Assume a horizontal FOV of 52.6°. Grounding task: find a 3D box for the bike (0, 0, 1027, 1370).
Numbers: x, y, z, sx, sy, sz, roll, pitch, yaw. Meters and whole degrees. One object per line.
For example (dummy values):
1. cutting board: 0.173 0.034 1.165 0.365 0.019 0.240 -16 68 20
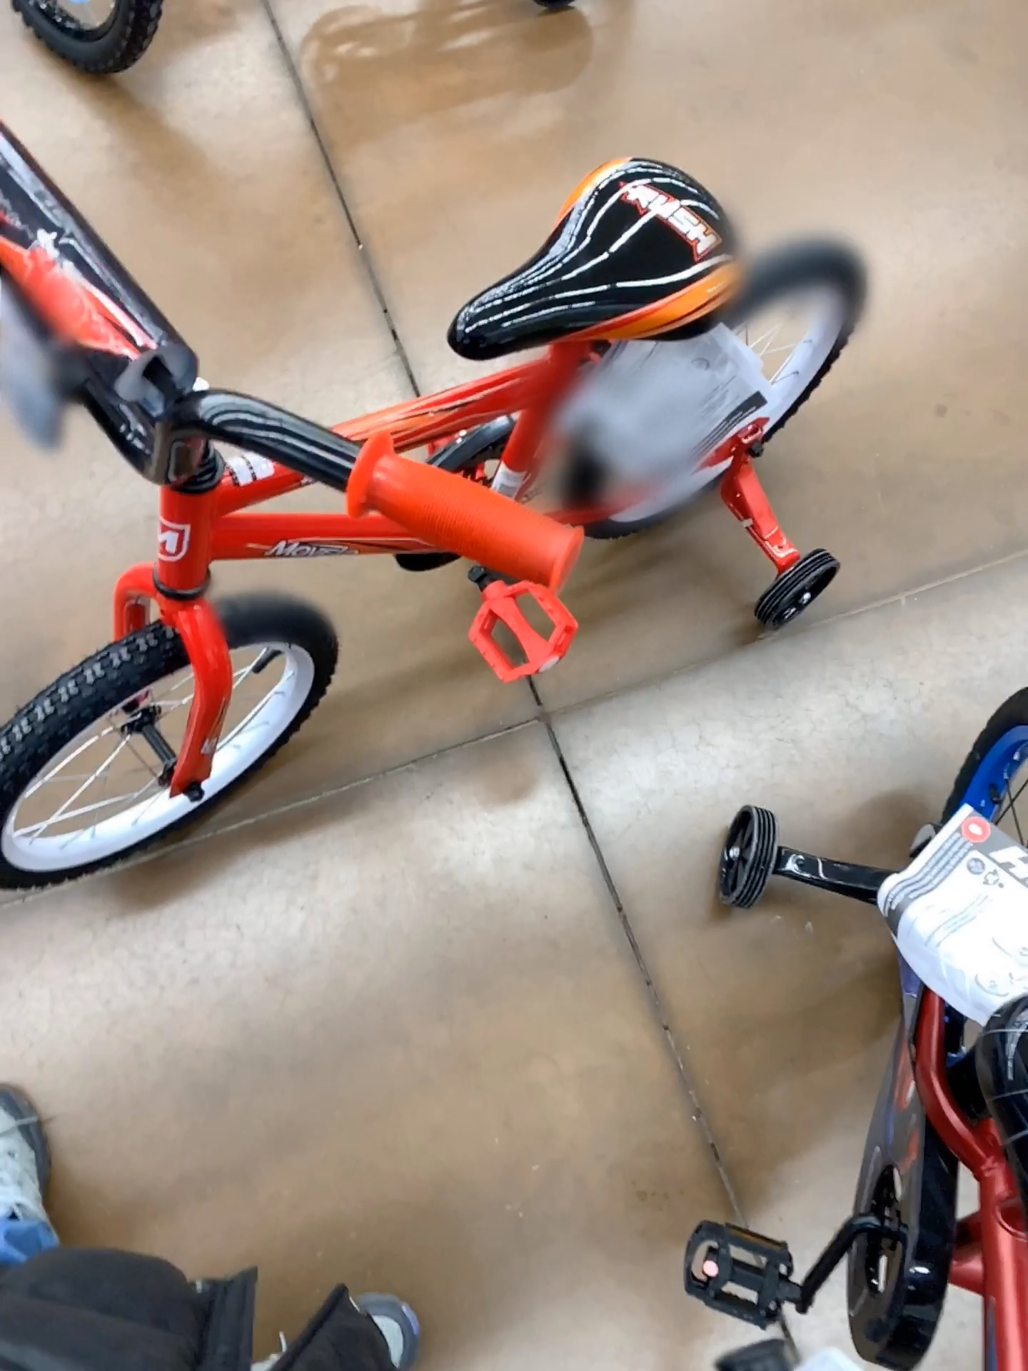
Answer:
1. bike: 0.002 -0.176 0.892 1.140 0.957 0.515 -34 75 -16
